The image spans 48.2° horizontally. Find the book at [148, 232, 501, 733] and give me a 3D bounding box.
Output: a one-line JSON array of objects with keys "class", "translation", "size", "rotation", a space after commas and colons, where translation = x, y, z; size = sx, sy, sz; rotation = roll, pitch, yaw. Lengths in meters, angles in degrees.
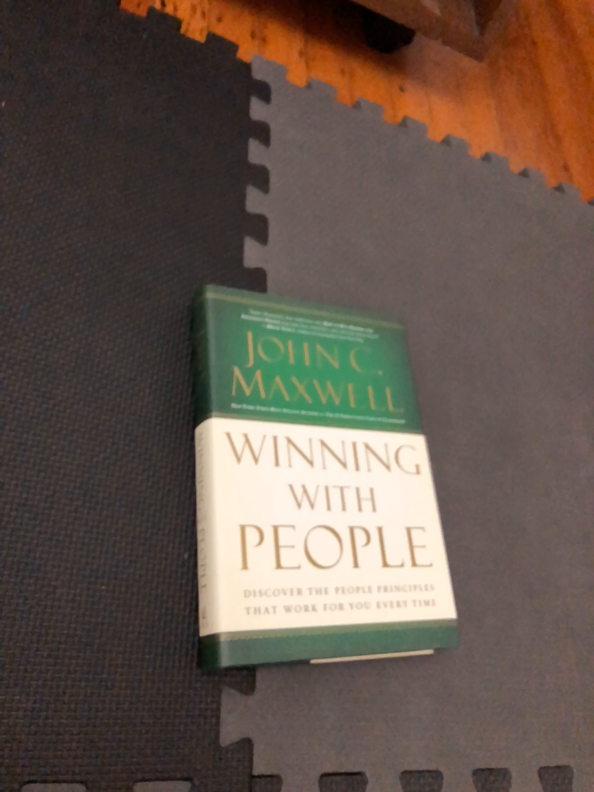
[{"class": "book", "translation": [0.012, 0.042, 0.422], "size": [0.201, 0.030, 0.291], "rotation": [8, 62, -24]}]
